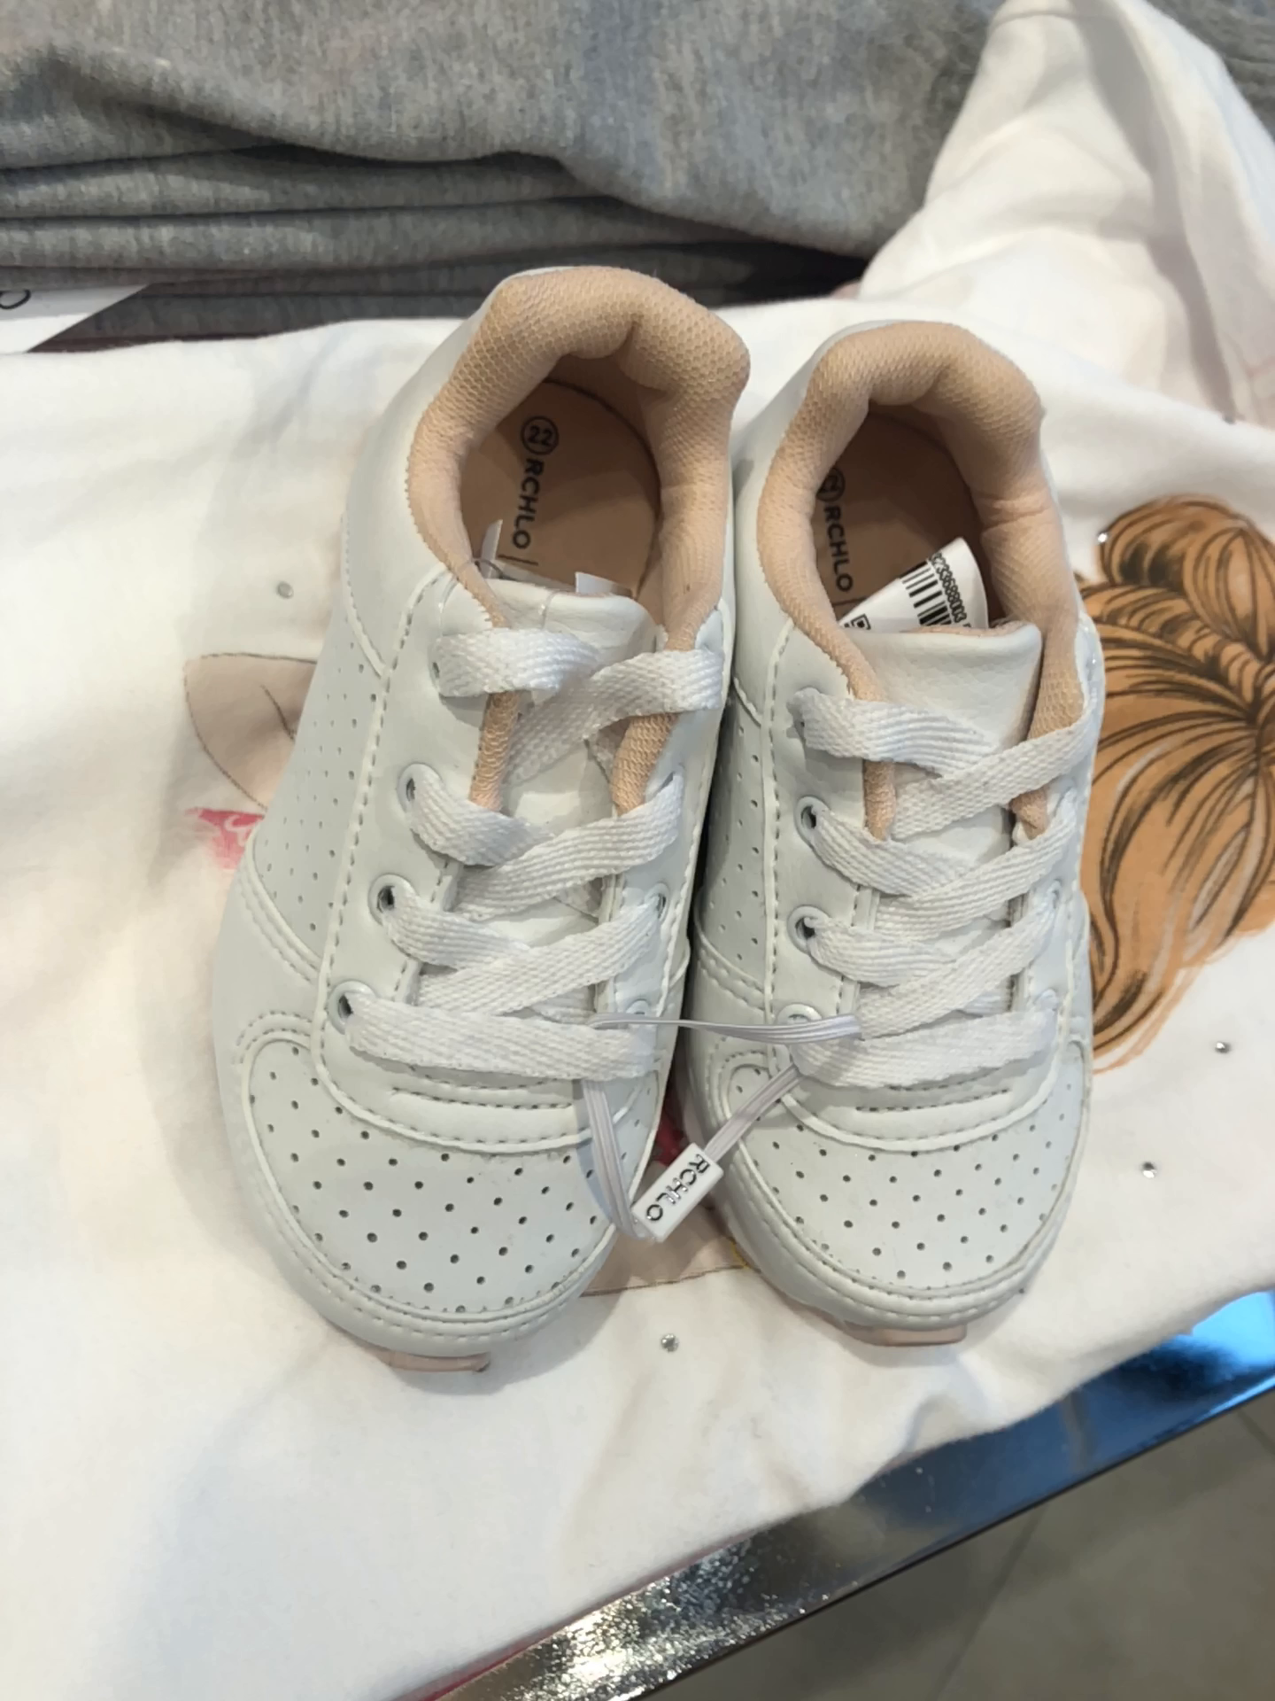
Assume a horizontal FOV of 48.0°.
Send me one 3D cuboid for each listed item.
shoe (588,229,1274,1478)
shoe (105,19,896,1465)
[{"bbox_3d":[0.045,-0.001,0.227,0.080,0.060,0.160,-2,87,-24],"label":"shoe"},{"bbox_3d":[-0.020,-0.010,0.198,0.080,0.060,0.160,8,83,-22],"label":"shoe"}]
